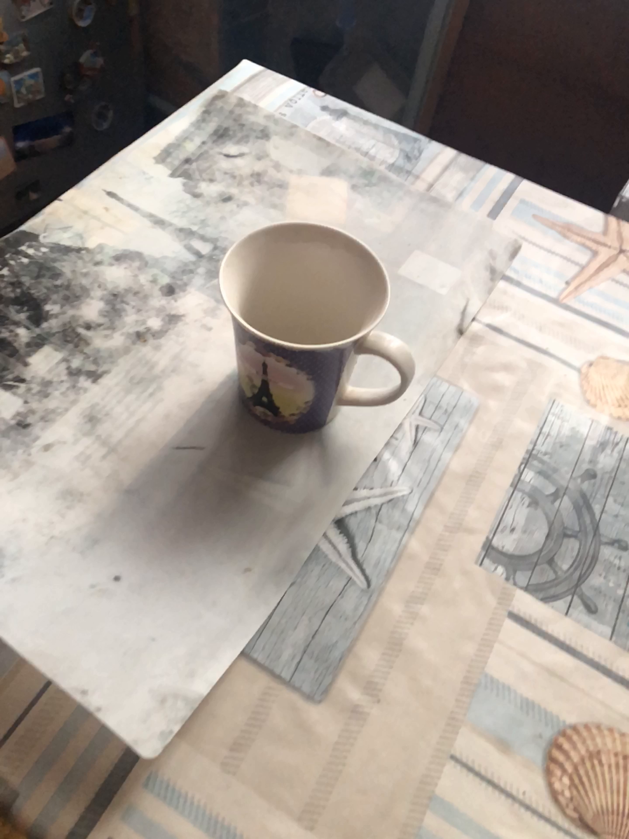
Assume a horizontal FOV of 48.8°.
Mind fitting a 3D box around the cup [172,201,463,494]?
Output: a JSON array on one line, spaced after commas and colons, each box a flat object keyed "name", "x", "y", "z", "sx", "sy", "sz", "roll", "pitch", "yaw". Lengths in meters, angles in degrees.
[{"name": "cup", "x": 0.000, "y": -0.039, "z": 0.381, "sx": 0.120, "sy": 0.085, "sz": 0.091, "roll": 23, "pitch": 56, "yaw": 8}]
